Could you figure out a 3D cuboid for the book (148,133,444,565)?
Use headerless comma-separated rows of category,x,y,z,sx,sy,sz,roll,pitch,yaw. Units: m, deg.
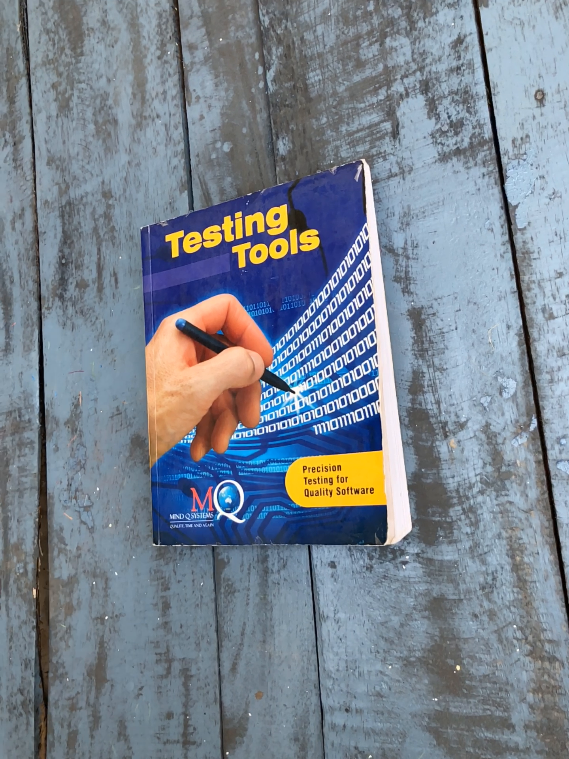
book,-0.004,-0.009,0.437,0.191,0.050,0.260,-10,77,29
